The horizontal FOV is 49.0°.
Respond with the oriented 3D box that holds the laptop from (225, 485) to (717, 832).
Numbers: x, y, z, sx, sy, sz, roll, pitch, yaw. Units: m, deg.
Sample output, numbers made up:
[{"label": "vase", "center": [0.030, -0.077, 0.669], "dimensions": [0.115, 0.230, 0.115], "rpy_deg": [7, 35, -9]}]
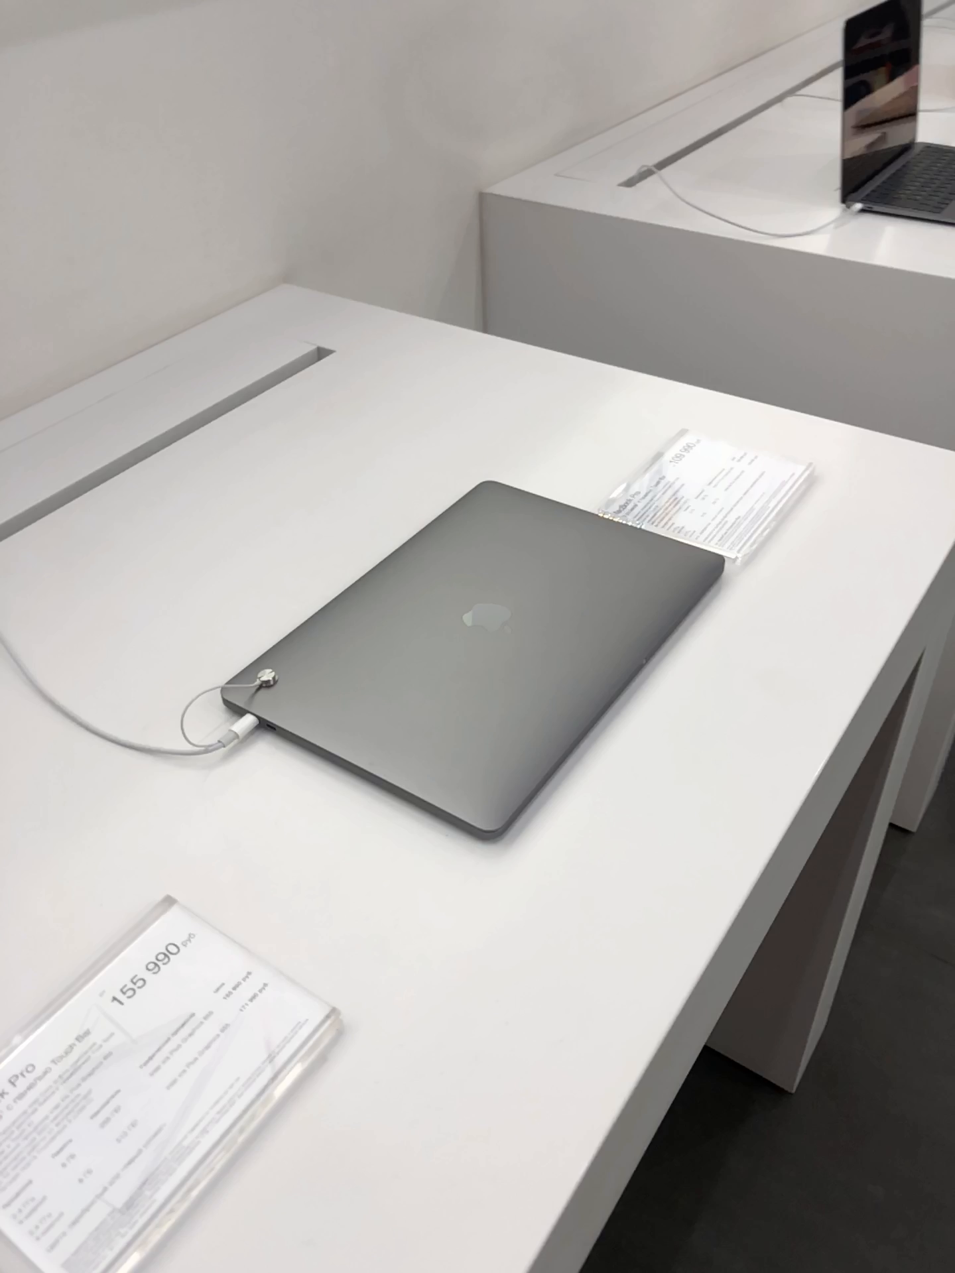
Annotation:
[{"label": "laptop", "center": [0.007, -0.008, 0.703], "dimensions": [0.199, 0.001, 0.294], "rpy_deg": [23, 45, 27]}]
